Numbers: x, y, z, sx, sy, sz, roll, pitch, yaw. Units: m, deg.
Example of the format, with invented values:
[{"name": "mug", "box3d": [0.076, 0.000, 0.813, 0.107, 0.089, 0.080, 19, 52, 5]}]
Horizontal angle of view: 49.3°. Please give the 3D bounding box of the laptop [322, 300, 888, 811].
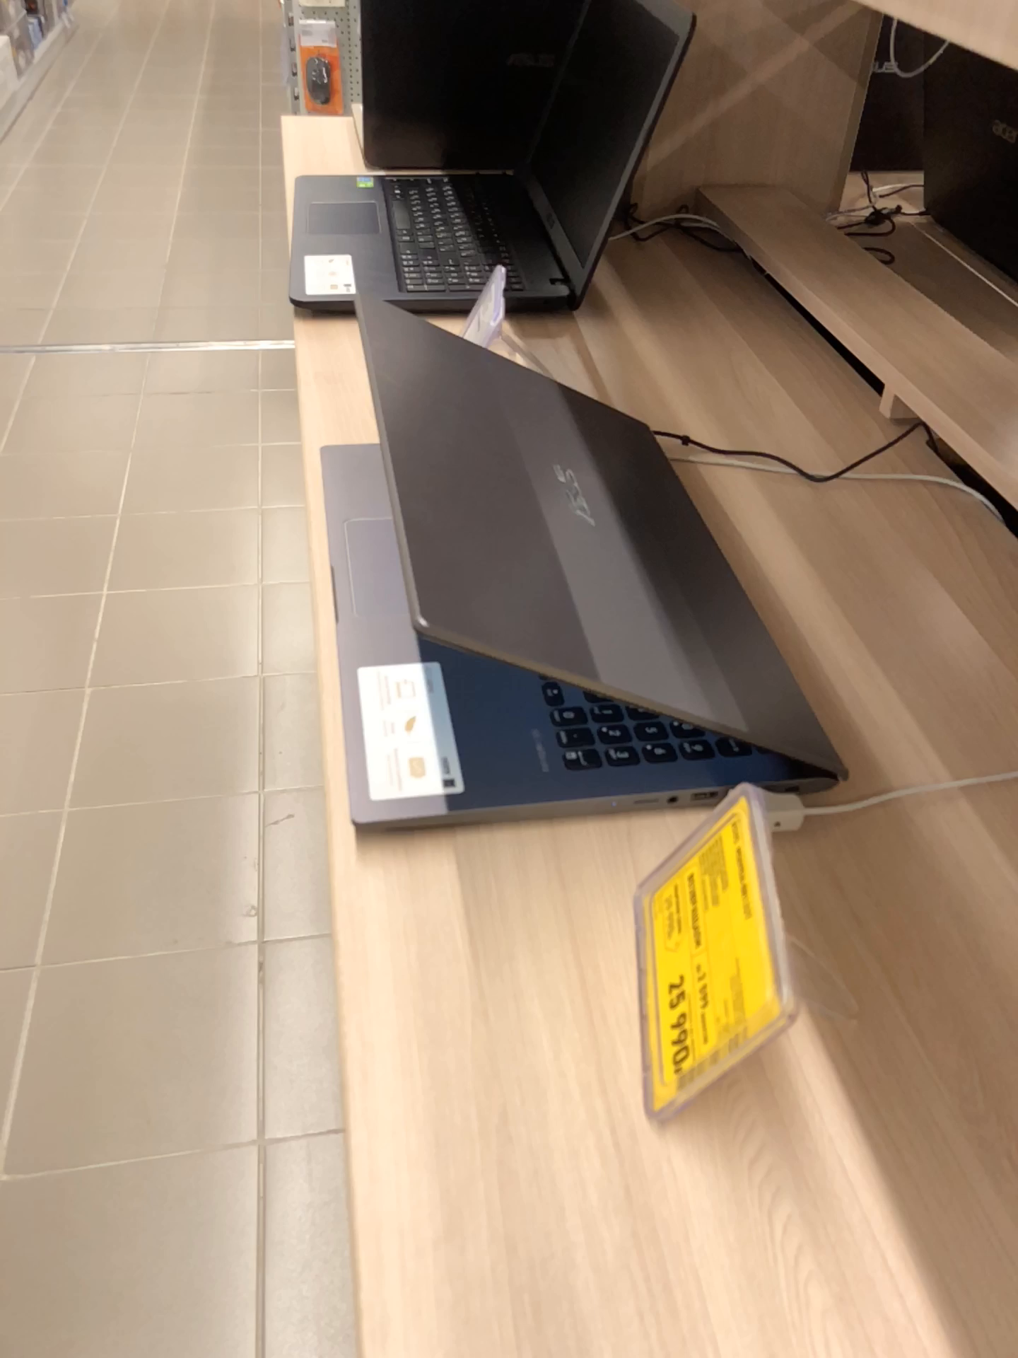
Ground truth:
[{"name": "laptop", "box3d": [0.019, -0.097, 0.627, 0.232, 0.111, 0.350, -3, 38, -9]}]
